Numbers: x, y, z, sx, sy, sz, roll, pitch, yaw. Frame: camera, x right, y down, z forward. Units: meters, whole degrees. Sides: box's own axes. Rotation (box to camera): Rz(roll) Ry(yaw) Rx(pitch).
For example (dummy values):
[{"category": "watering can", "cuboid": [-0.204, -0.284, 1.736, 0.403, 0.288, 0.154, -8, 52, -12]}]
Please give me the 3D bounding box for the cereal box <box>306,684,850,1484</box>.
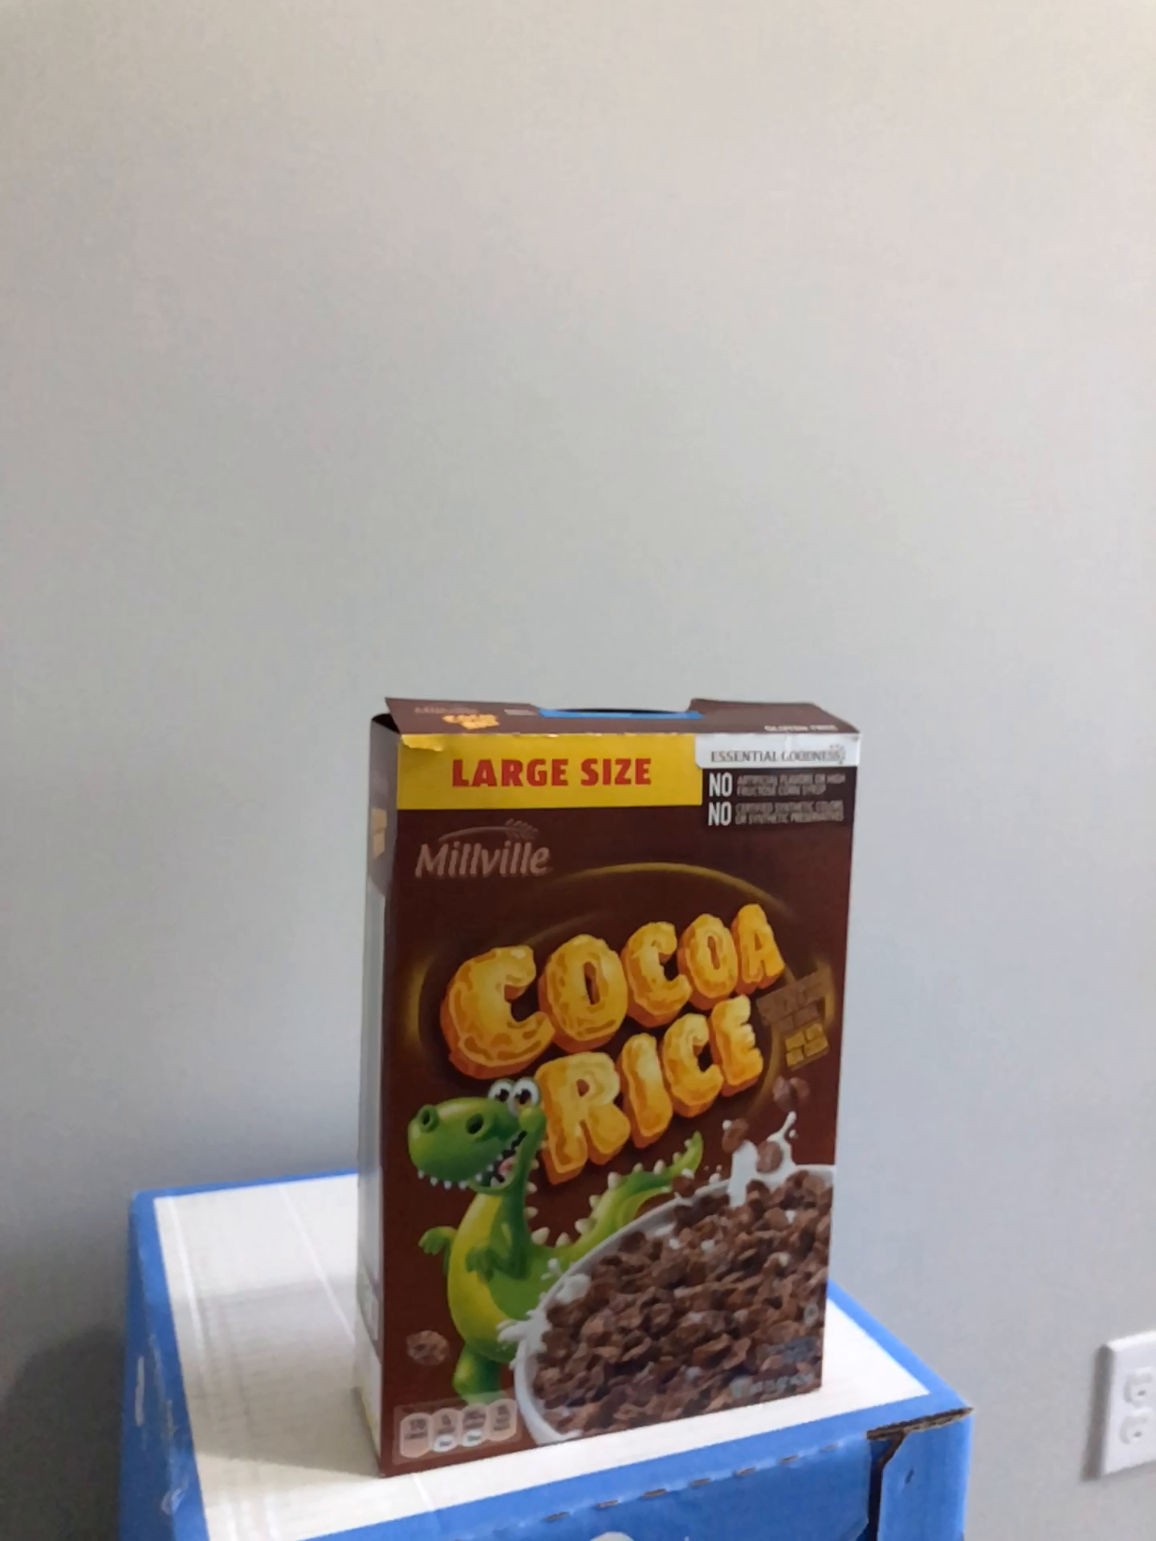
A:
[{"category": "cereal box", "cuboid": [-0.002, 0.113, 0.519, 0.200, 0.290, 0.060, 0, 7, -21]}]
